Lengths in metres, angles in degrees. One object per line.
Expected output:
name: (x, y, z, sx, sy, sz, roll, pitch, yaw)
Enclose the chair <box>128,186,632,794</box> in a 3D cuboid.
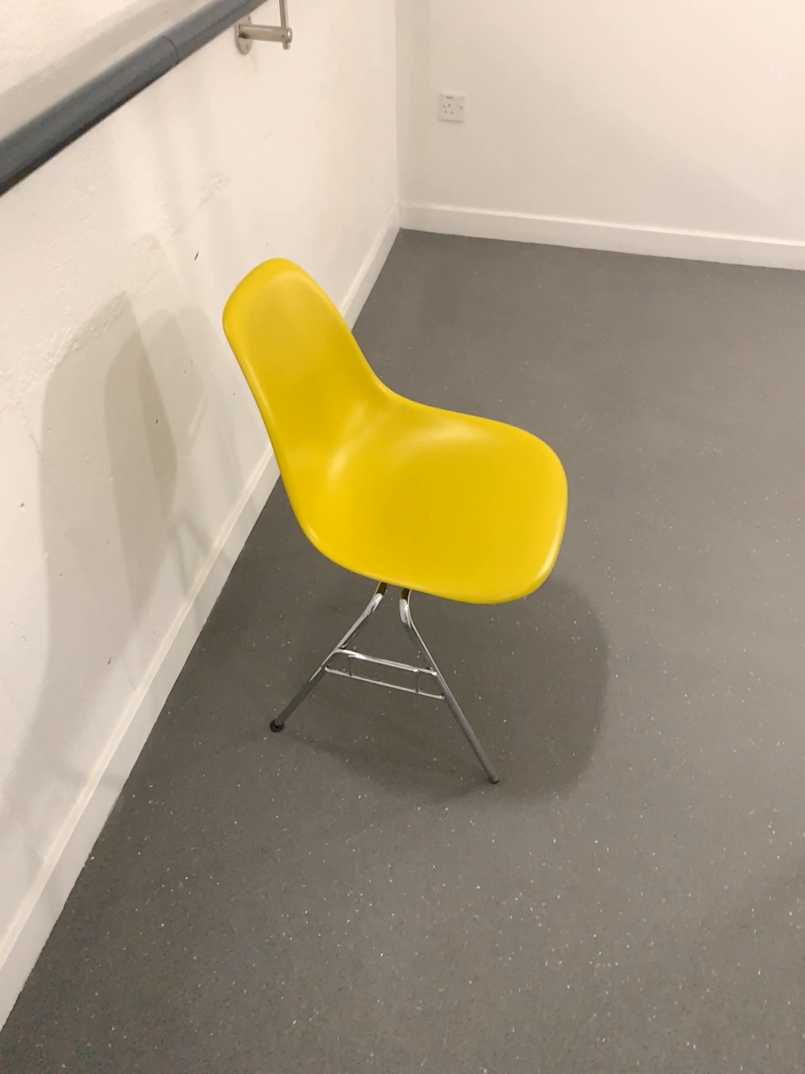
chair: (0.020, -0.084, 1.411, 0.560, 0.733, 0.626, 10, 46, 11)
